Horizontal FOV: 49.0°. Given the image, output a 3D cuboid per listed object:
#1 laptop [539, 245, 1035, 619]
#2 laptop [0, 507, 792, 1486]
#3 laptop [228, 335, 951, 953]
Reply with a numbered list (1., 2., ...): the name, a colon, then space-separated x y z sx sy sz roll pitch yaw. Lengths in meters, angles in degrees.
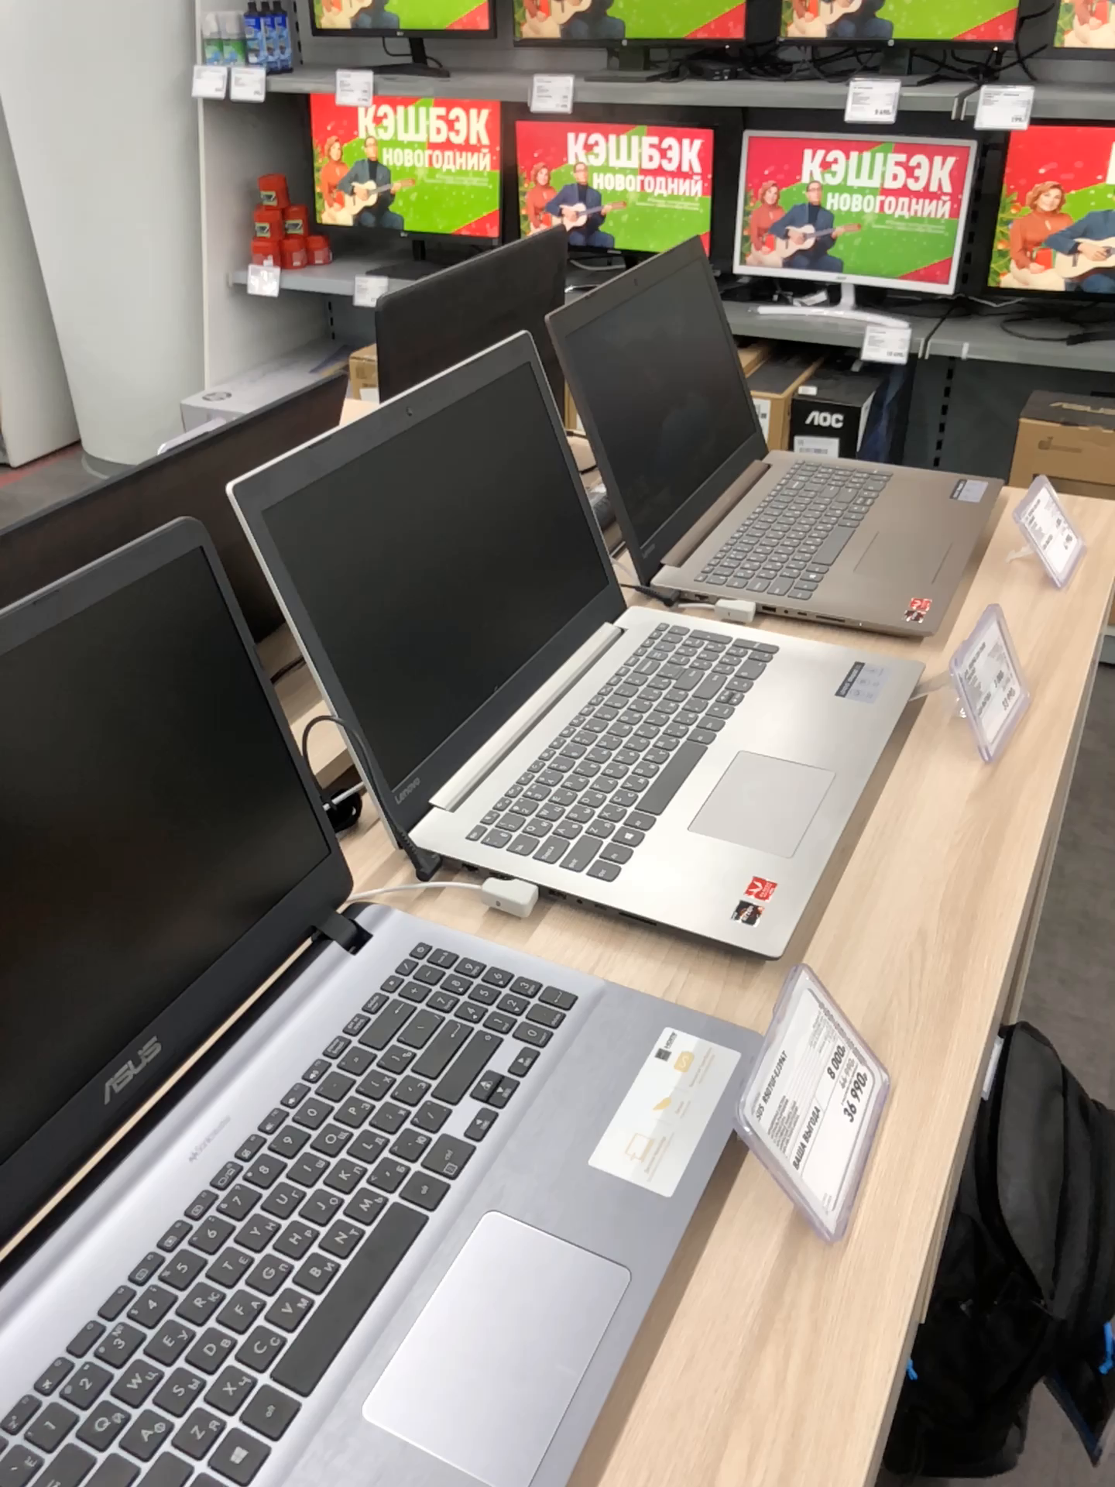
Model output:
1. laptop: 0.224 -0.309 1.142 0.326 0.222 0.359 12 34 20
2. laptop: -0.110 0.094 0.498 0.318 0.232 0.328 14 35 23
3. laptop: 0.045 -0.104 0.826 0.335 0.220 0.367 13 35 22
